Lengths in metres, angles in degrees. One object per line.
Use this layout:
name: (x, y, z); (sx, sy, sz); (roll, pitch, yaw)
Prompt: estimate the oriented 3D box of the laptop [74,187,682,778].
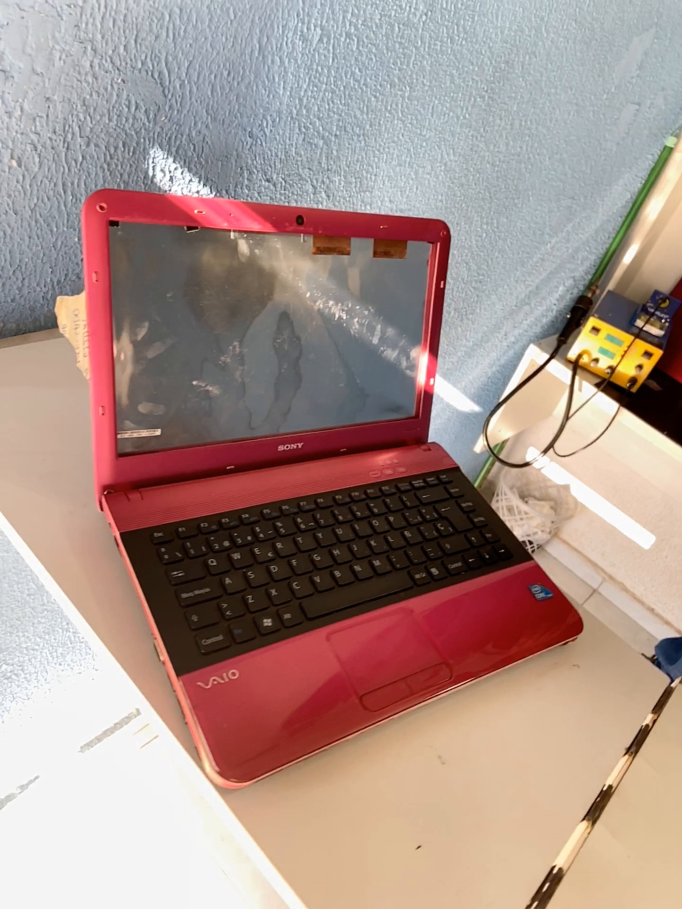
laptop: (0.016, -0.019, 0.538); (0.332, 0.187, 0.340); (-8, 47, -33)
